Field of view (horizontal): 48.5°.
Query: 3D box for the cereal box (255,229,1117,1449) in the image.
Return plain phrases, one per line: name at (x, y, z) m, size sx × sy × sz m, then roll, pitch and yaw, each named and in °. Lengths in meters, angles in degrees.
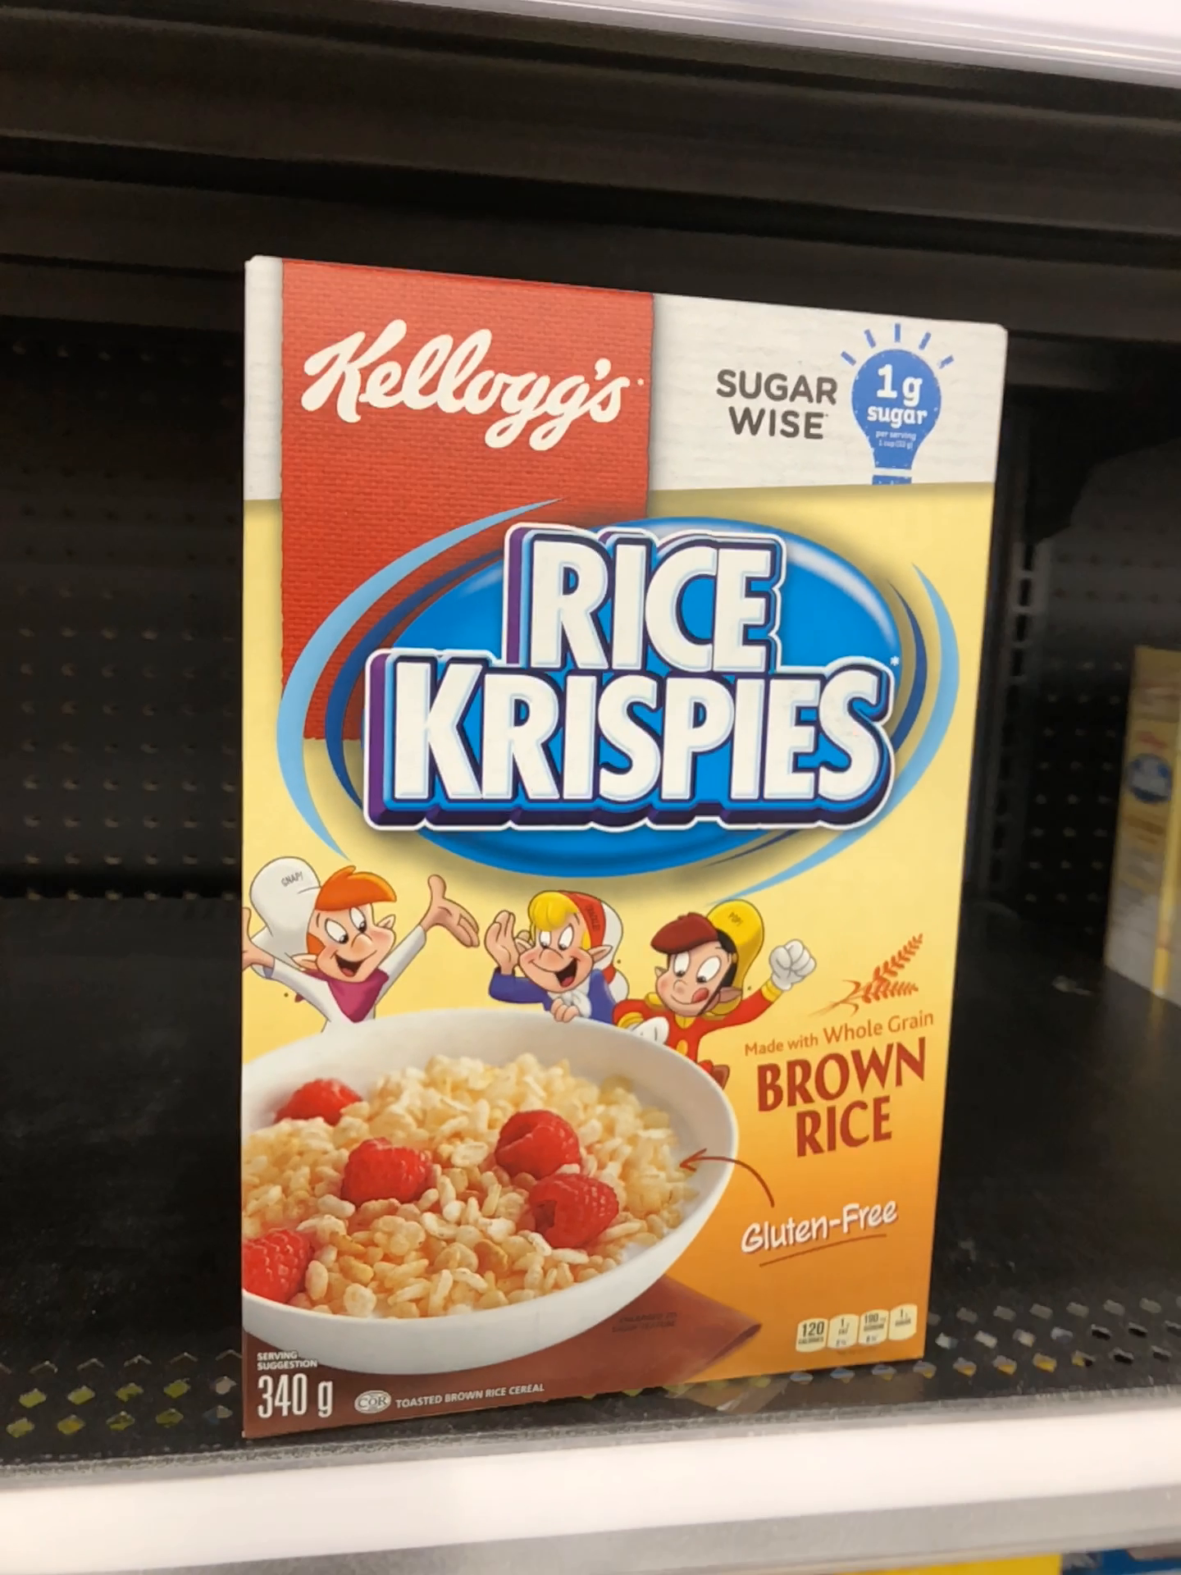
cereal box at (0.018, 0.017, 0.358) m, size 0.210 × 0.289 × 0.060 m, roll 0°, pitch 10°, yaw -14°
